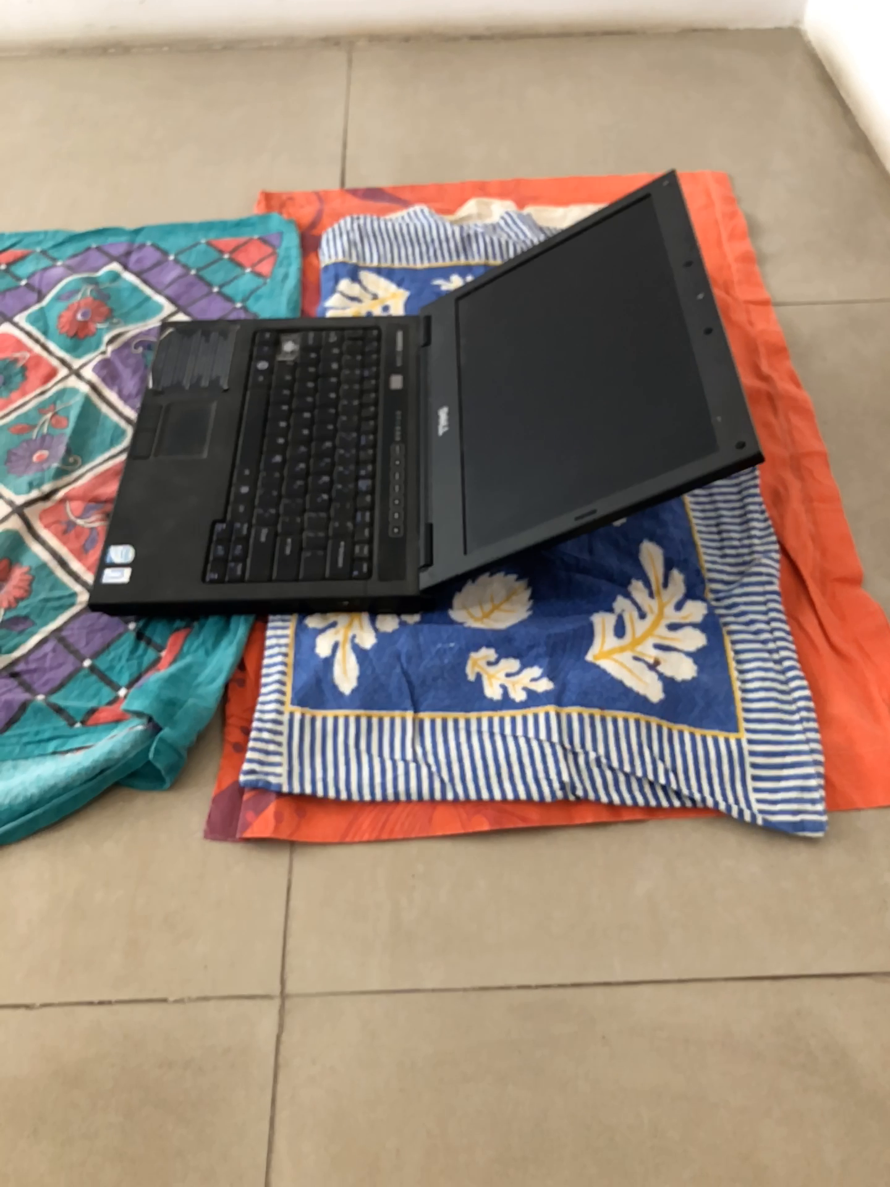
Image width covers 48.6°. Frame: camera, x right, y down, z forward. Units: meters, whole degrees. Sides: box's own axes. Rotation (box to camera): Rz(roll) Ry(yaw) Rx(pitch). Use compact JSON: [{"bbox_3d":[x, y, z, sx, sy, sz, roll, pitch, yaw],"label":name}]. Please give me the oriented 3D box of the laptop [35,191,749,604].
[{"bbox_3d":[-0.031,-0.155,0.724,0.419,0.124,0.307,-1,52,-1],"label":"laptop"}]
